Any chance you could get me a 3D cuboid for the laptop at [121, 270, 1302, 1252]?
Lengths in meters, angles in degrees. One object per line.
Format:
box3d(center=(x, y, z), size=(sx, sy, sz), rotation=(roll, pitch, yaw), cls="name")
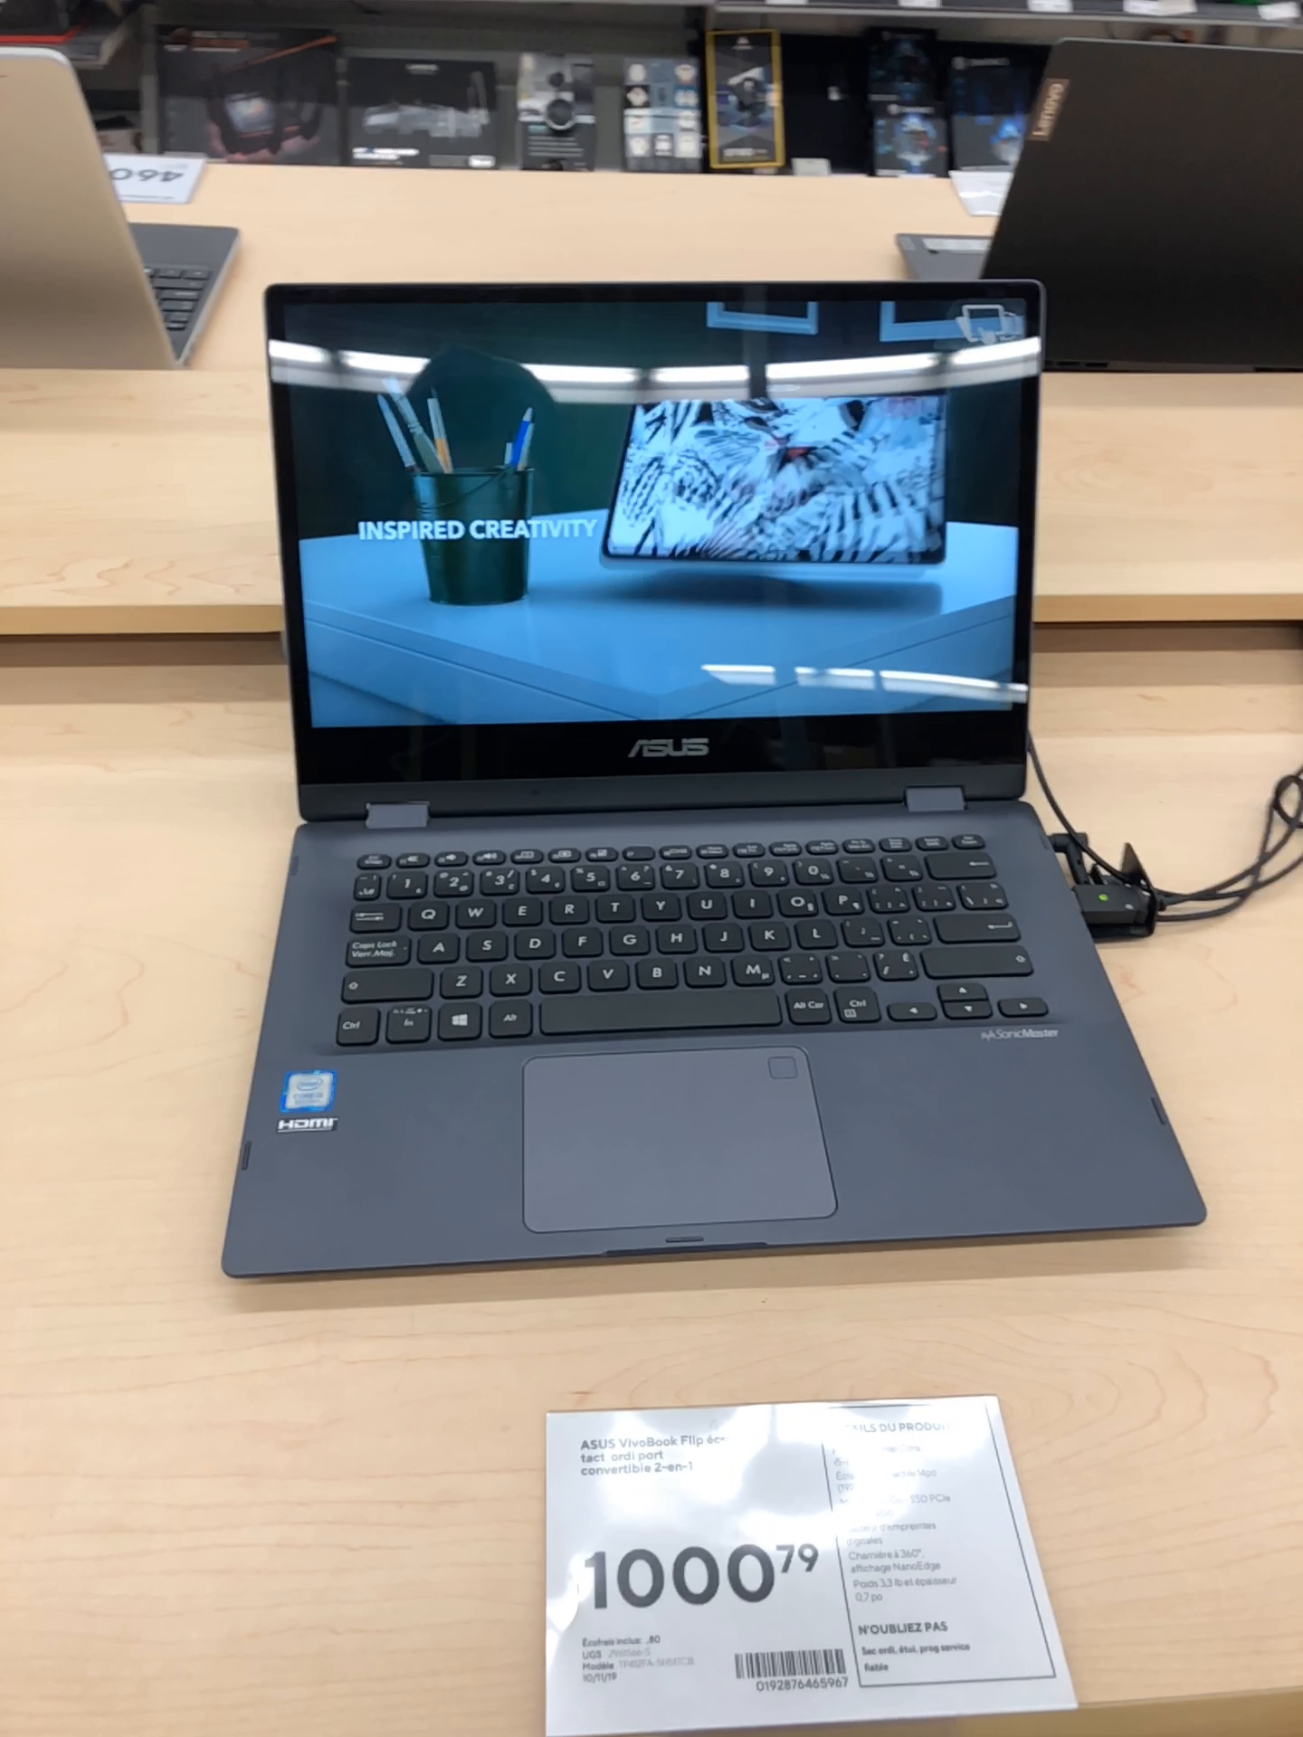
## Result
box3d(center=(0.013, -0.059, 0.534), size=(0.319, 0.184, 0.332), rotation=(-1, 44, -5), cls="laptop")
